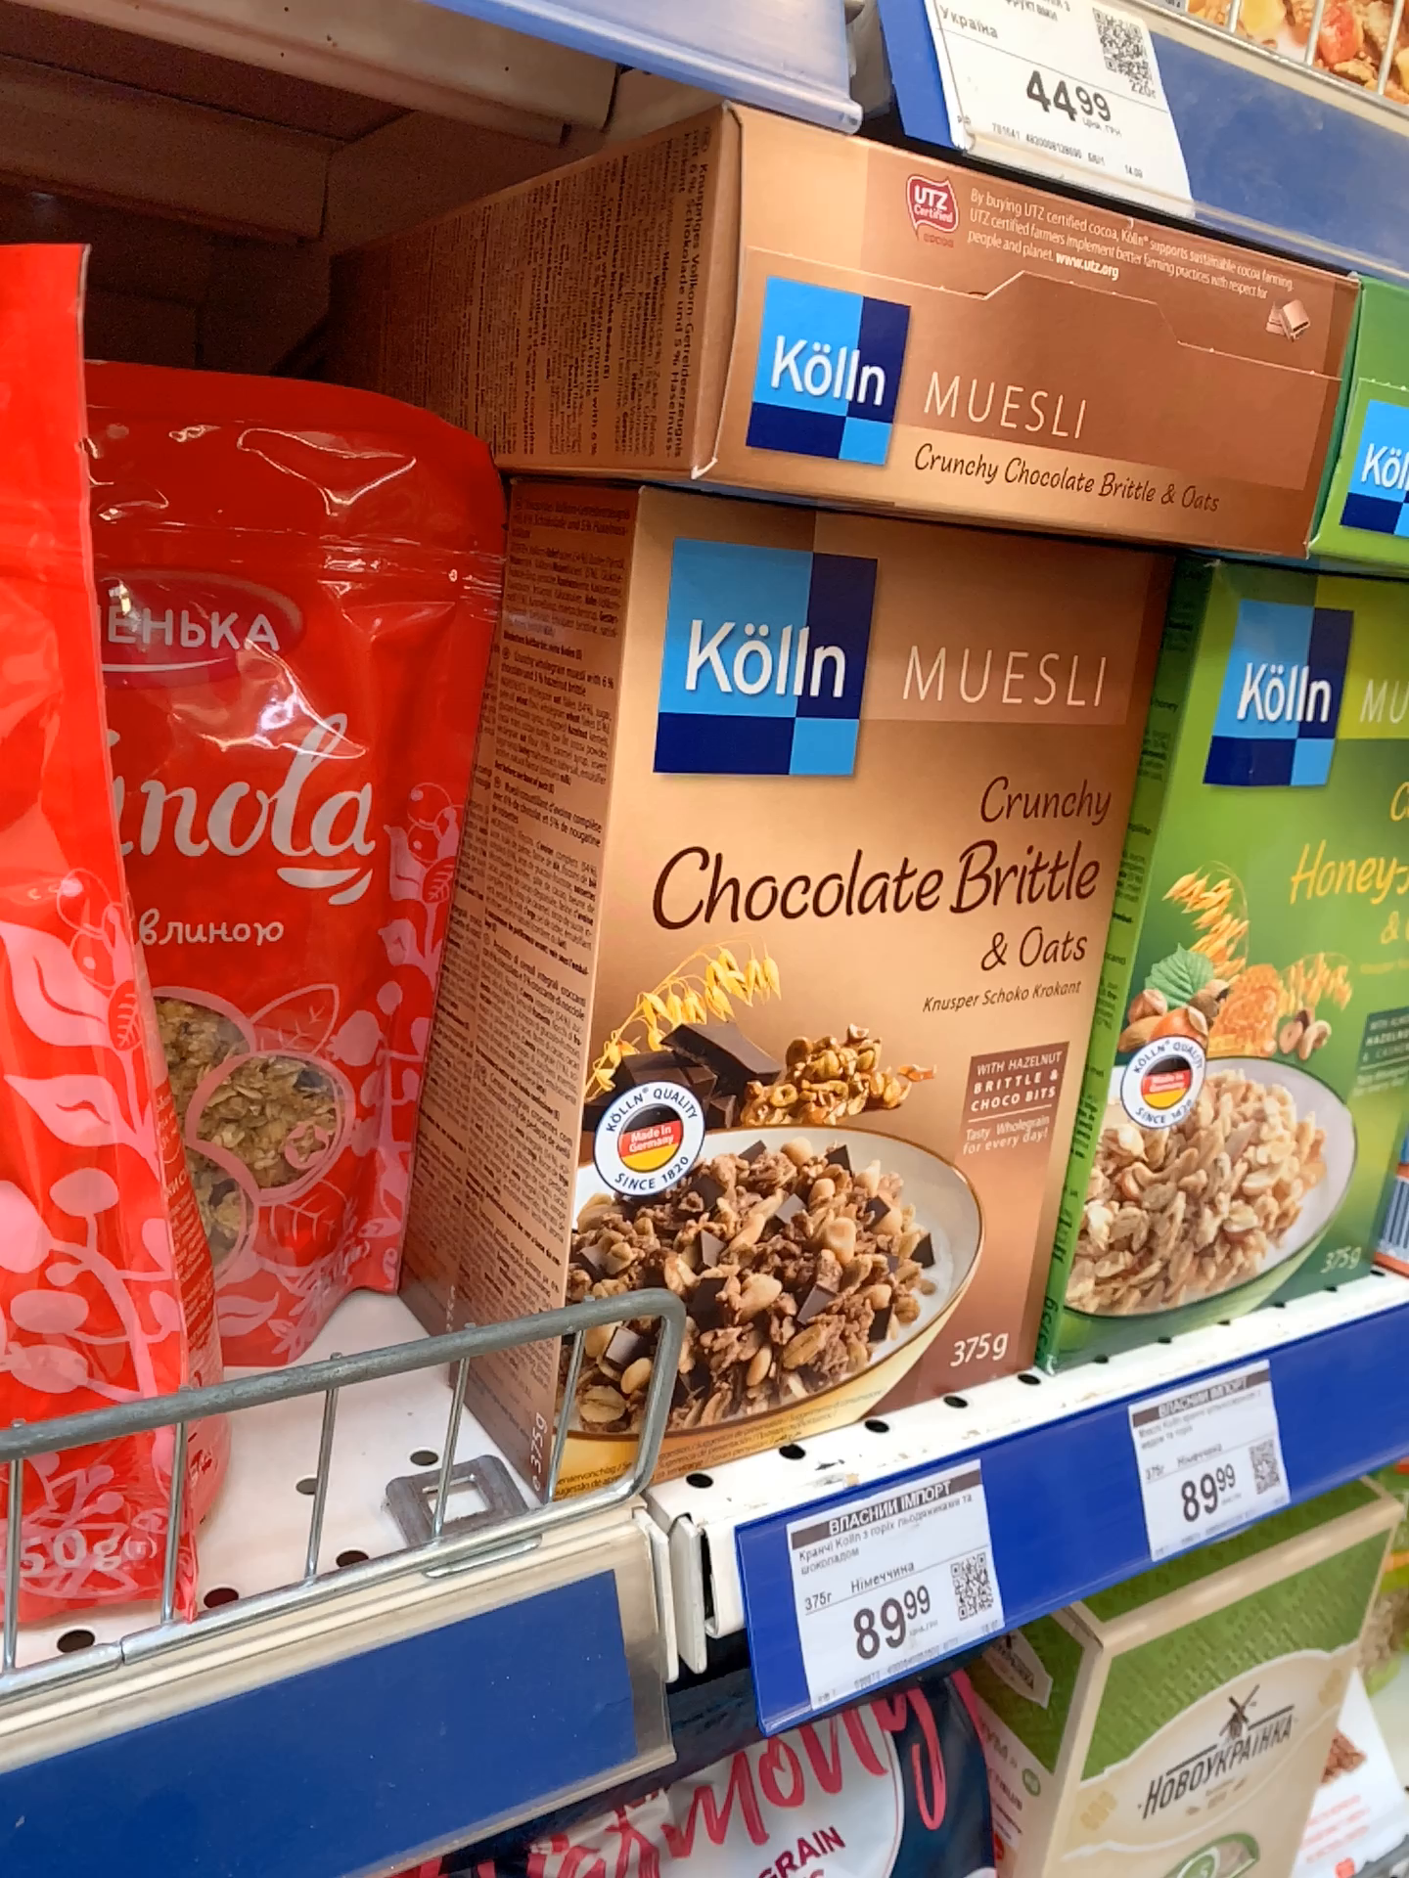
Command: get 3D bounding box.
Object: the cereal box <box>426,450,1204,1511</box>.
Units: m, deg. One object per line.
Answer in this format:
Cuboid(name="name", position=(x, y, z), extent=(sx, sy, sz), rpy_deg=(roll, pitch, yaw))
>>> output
Cuboid(name="cereal box", position=(0.024, 0.005, 0.342), extent=(0.150, 0.209, 0.060), rpy_deg=(-2, 16, -33))
